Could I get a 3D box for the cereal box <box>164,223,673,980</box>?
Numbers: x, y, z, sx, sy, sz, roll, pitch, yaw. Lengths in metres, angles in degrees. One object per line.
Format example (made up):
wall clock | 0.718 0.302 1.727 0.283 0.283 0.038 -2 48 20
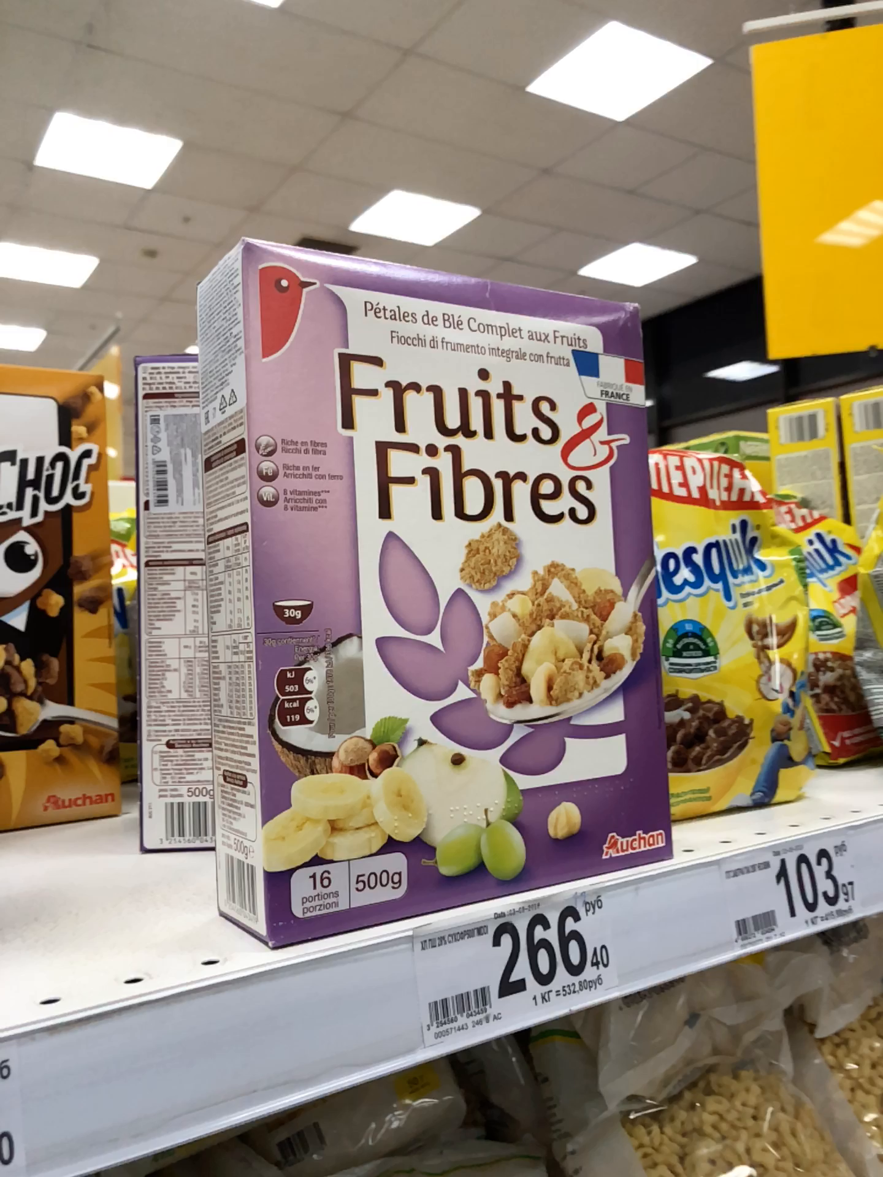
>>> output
cereal box | -0.005 0.002 0.413 0.200 0.260 0.060 -1 -4 -32
